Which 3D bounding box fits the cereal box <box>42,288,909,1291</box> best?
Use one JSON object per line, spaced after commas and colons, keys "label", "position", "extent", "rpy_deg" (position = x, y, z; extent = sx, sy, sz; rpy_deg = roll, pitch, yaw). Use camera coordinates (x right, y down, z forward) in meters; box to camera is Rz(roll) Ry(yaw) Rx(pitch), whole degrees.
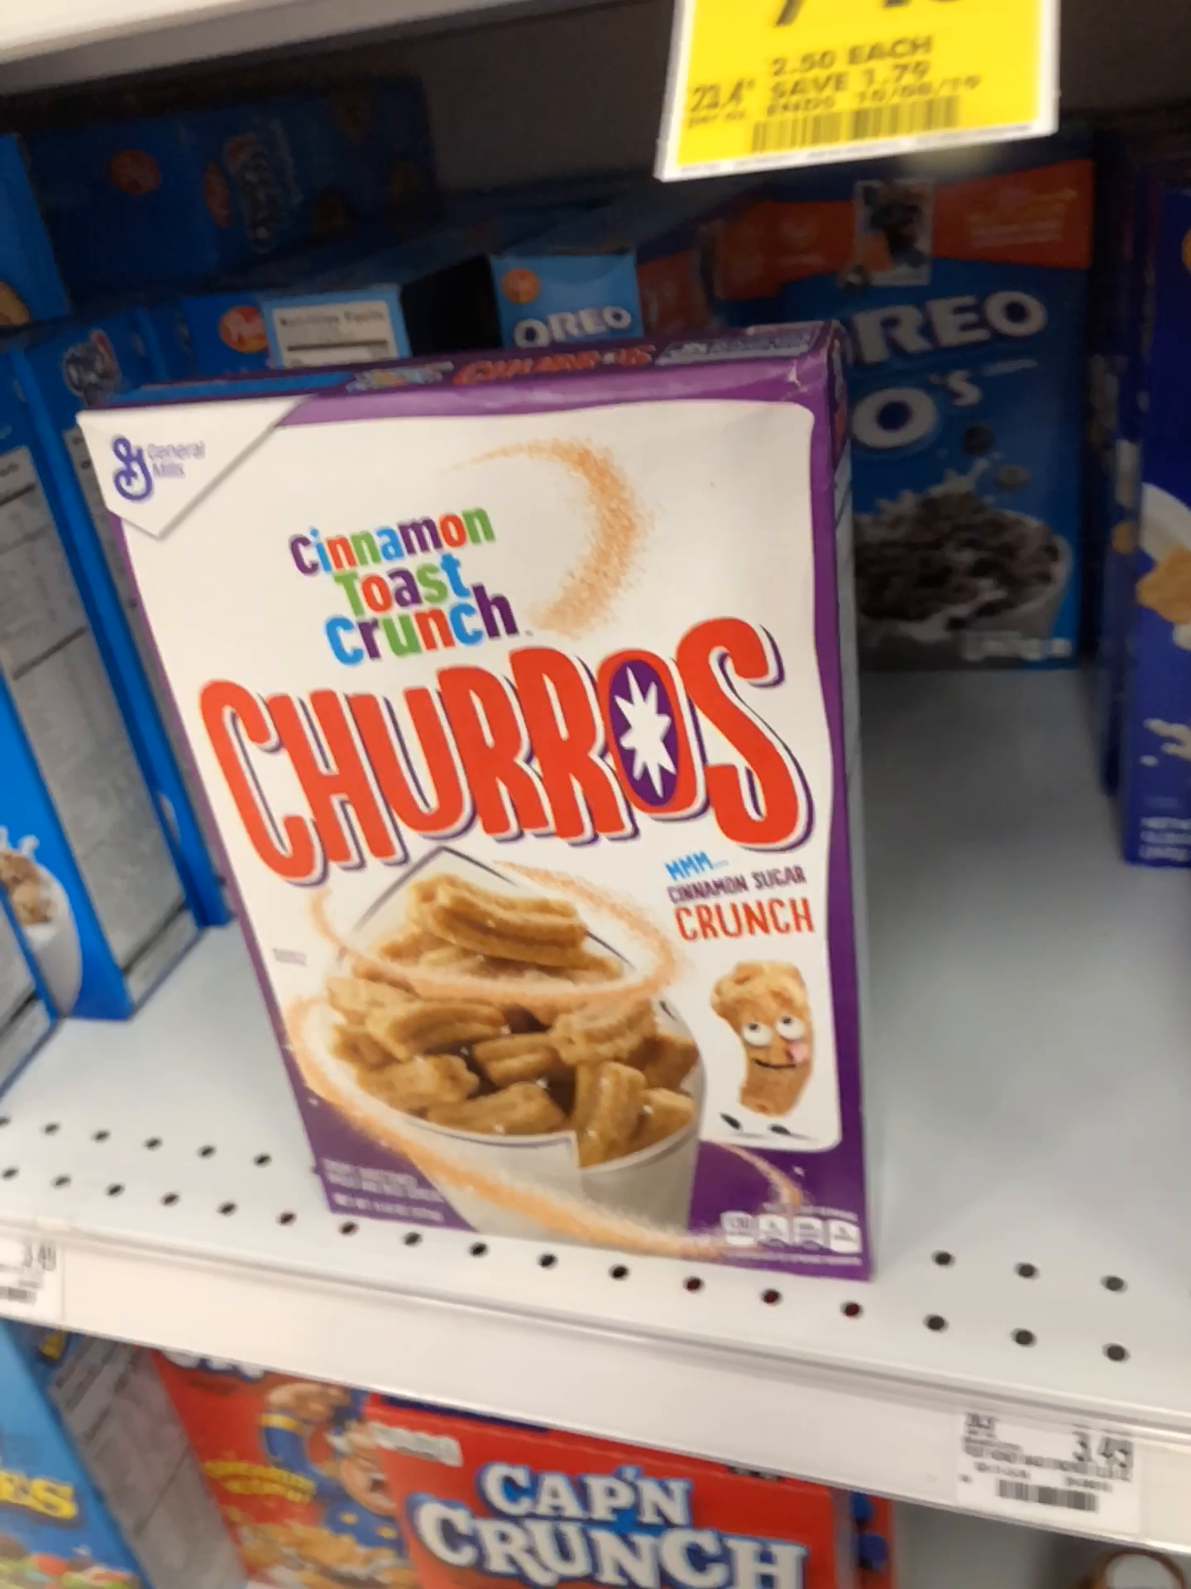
{"label": "cereal box", "position": [-0.016, 0.012, 0.394], "extent": [0.200, 0.280, 0.060], "rpy_deg": [1, 30, 19]}
